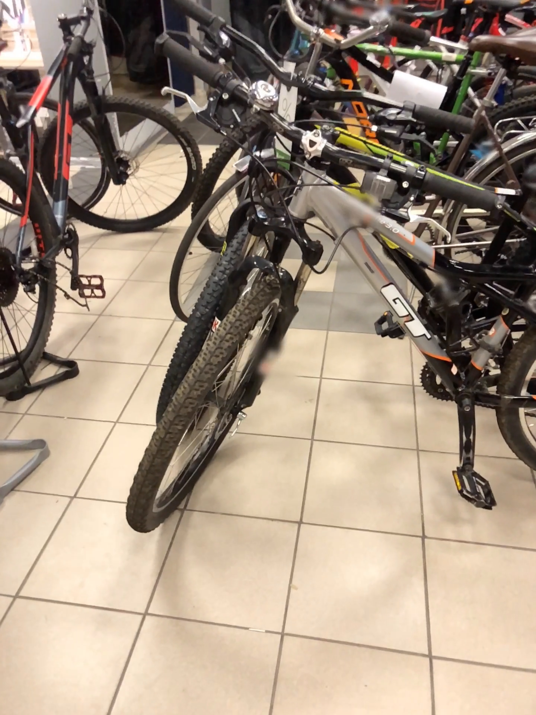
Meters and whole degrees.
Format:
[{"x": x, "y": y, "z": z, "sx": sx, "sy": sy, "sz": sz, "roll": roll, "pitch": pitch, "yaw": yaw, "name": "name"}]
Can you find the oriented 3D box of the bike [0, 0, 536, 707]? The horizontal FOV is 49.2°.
[{"x": 0.476, "y": -0.068, "z": 1.106, "sx": 1.425, "sy": 1.012, "sz": 0.628, "roll": -5, "pitch": 34, "yaw": -10, "name": "bike"}]
